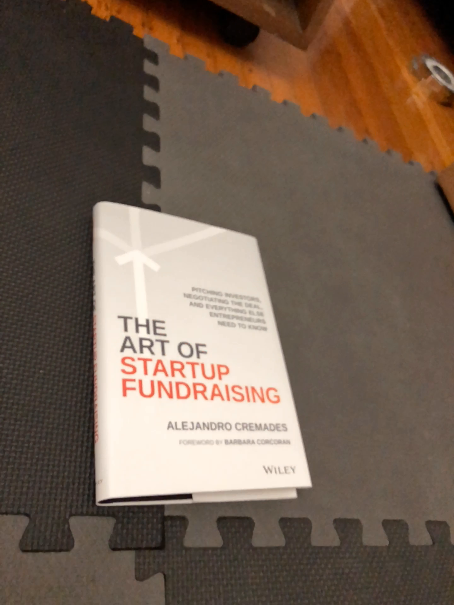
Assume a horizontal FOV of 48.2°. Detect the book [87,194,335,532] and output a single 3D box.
[{"bbox_3d":[-0.020,0.038,0.401,0.171,0.030,0.251,11,53,-29],"label":"book"}]
